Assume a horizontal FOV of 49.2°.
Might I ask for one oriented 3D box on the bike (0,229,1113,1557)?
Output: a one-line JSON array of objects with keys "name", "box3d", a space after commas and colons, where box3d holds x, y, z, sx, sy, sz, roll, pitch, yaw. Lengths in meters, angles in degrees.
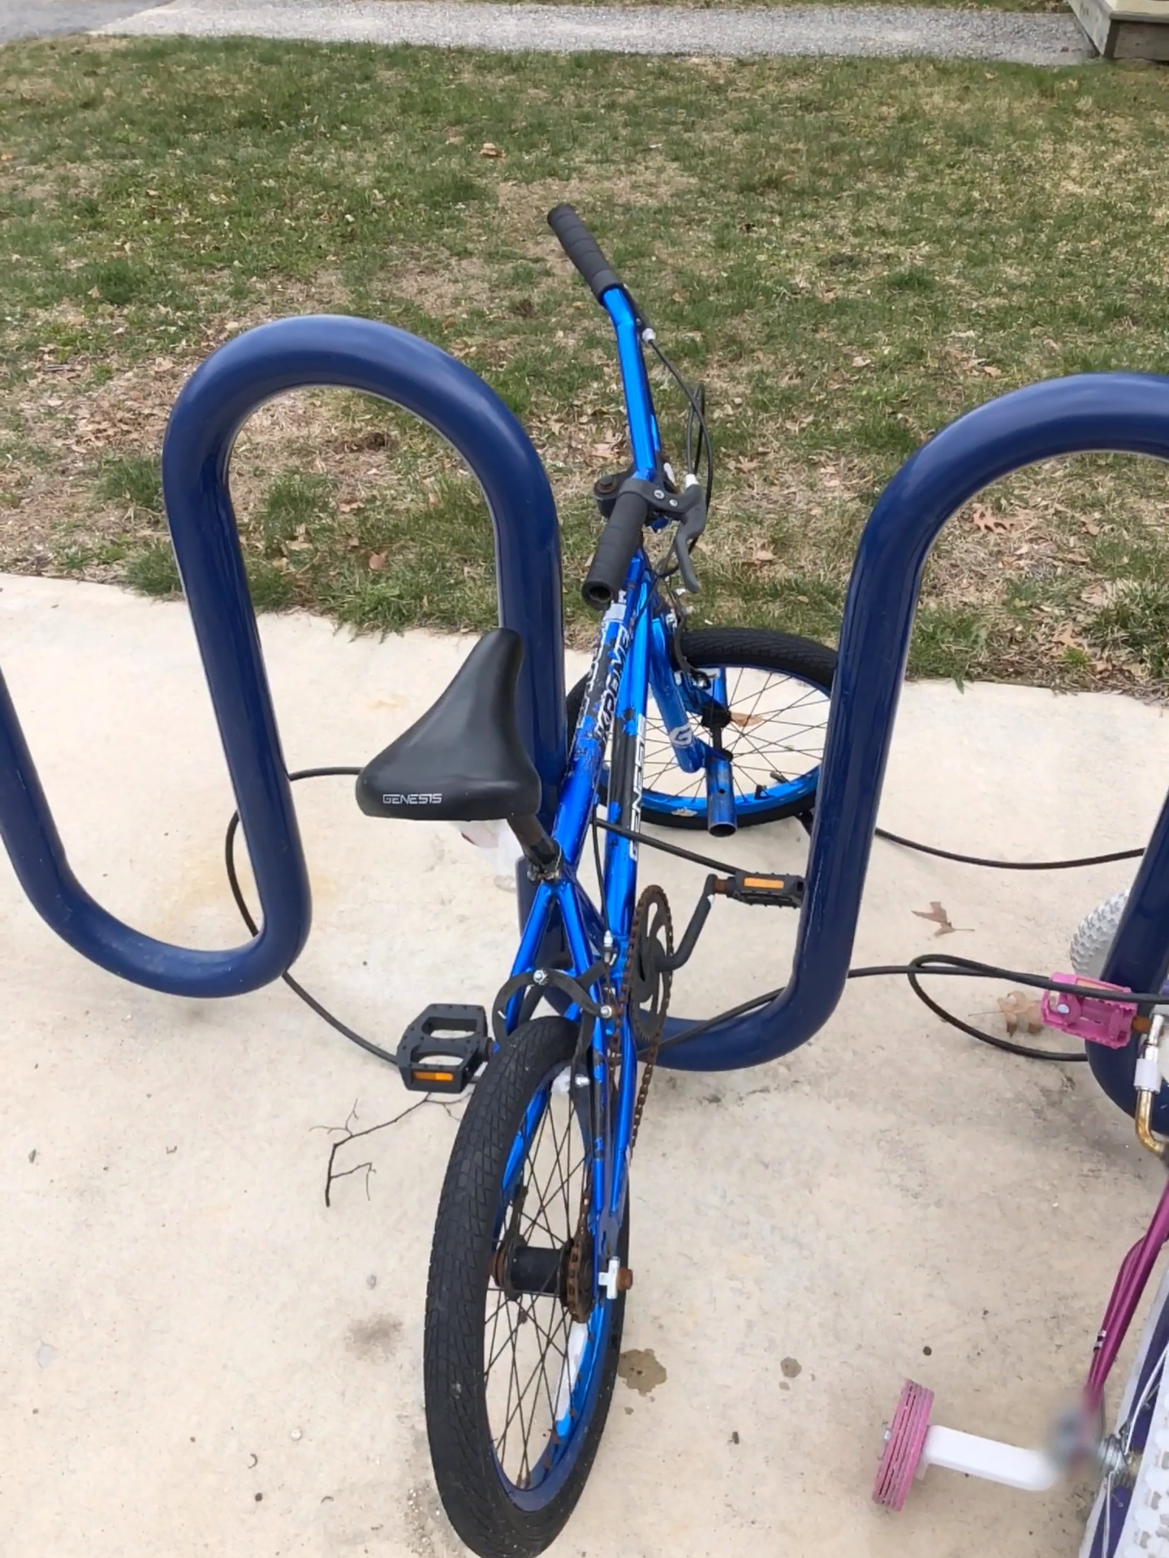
[{"name": "bike", "box3d": [0.021, 0.062, 1.217, 0.621, 0.840, 1.035, 13, 39, 17]}]
